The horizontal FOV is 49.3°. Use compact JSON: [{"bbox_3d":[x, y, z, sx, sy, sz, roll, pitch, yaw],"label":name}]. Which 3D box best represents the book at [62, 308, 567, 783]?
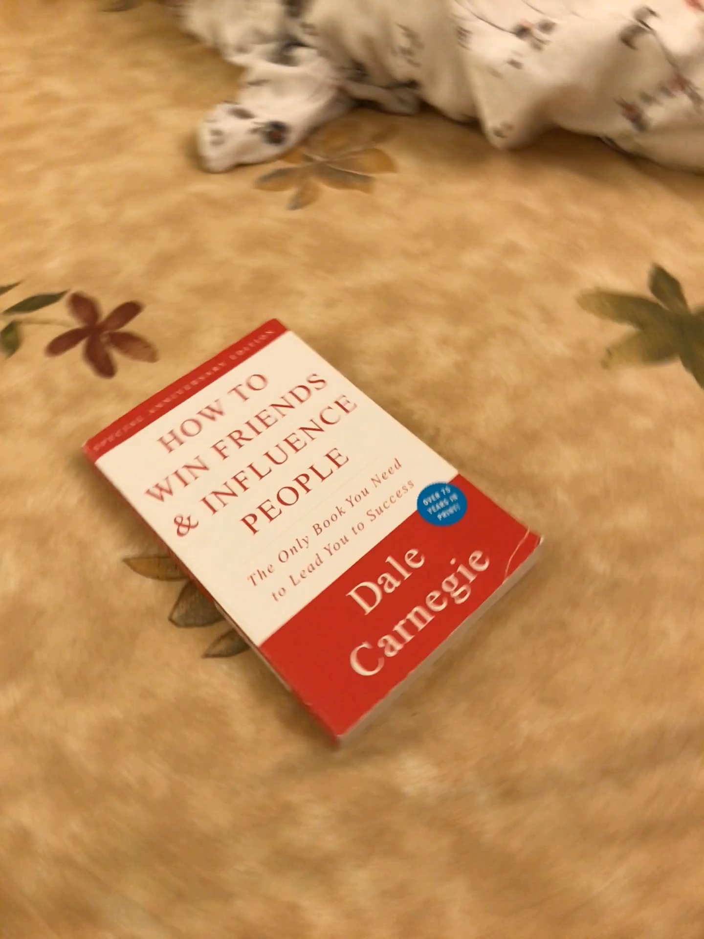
[{"bbox_3d":[-0.026,0.020,0.399,0.150,0.020,0.220,-39,64,-19],"label":"book"}]
